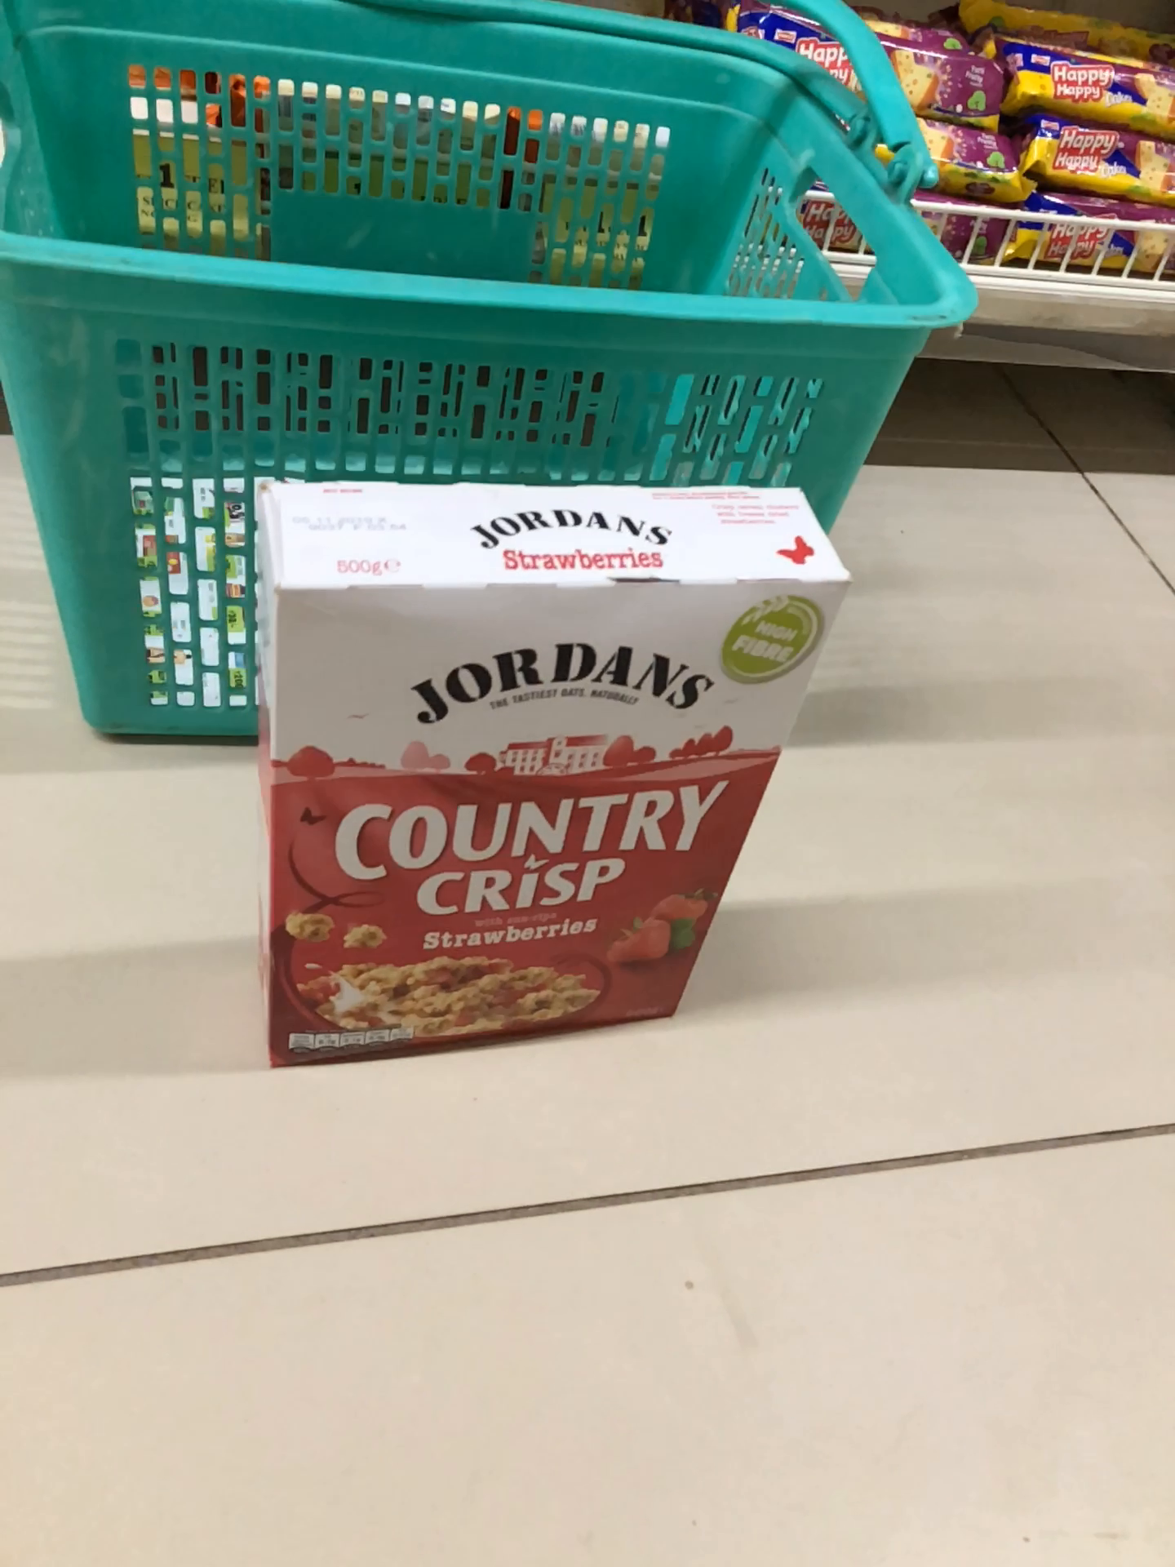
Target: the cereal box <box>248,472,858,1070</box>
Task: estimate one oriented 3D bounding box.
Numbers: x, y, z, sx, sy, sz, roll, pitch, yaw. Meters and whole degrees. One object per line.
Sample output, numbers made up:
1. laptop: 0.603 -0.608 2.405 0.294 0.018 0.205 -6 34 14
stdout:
1. cereal box: -0.030 0.006 0.478 0.180 0.248 0.050 -4 48 -18
